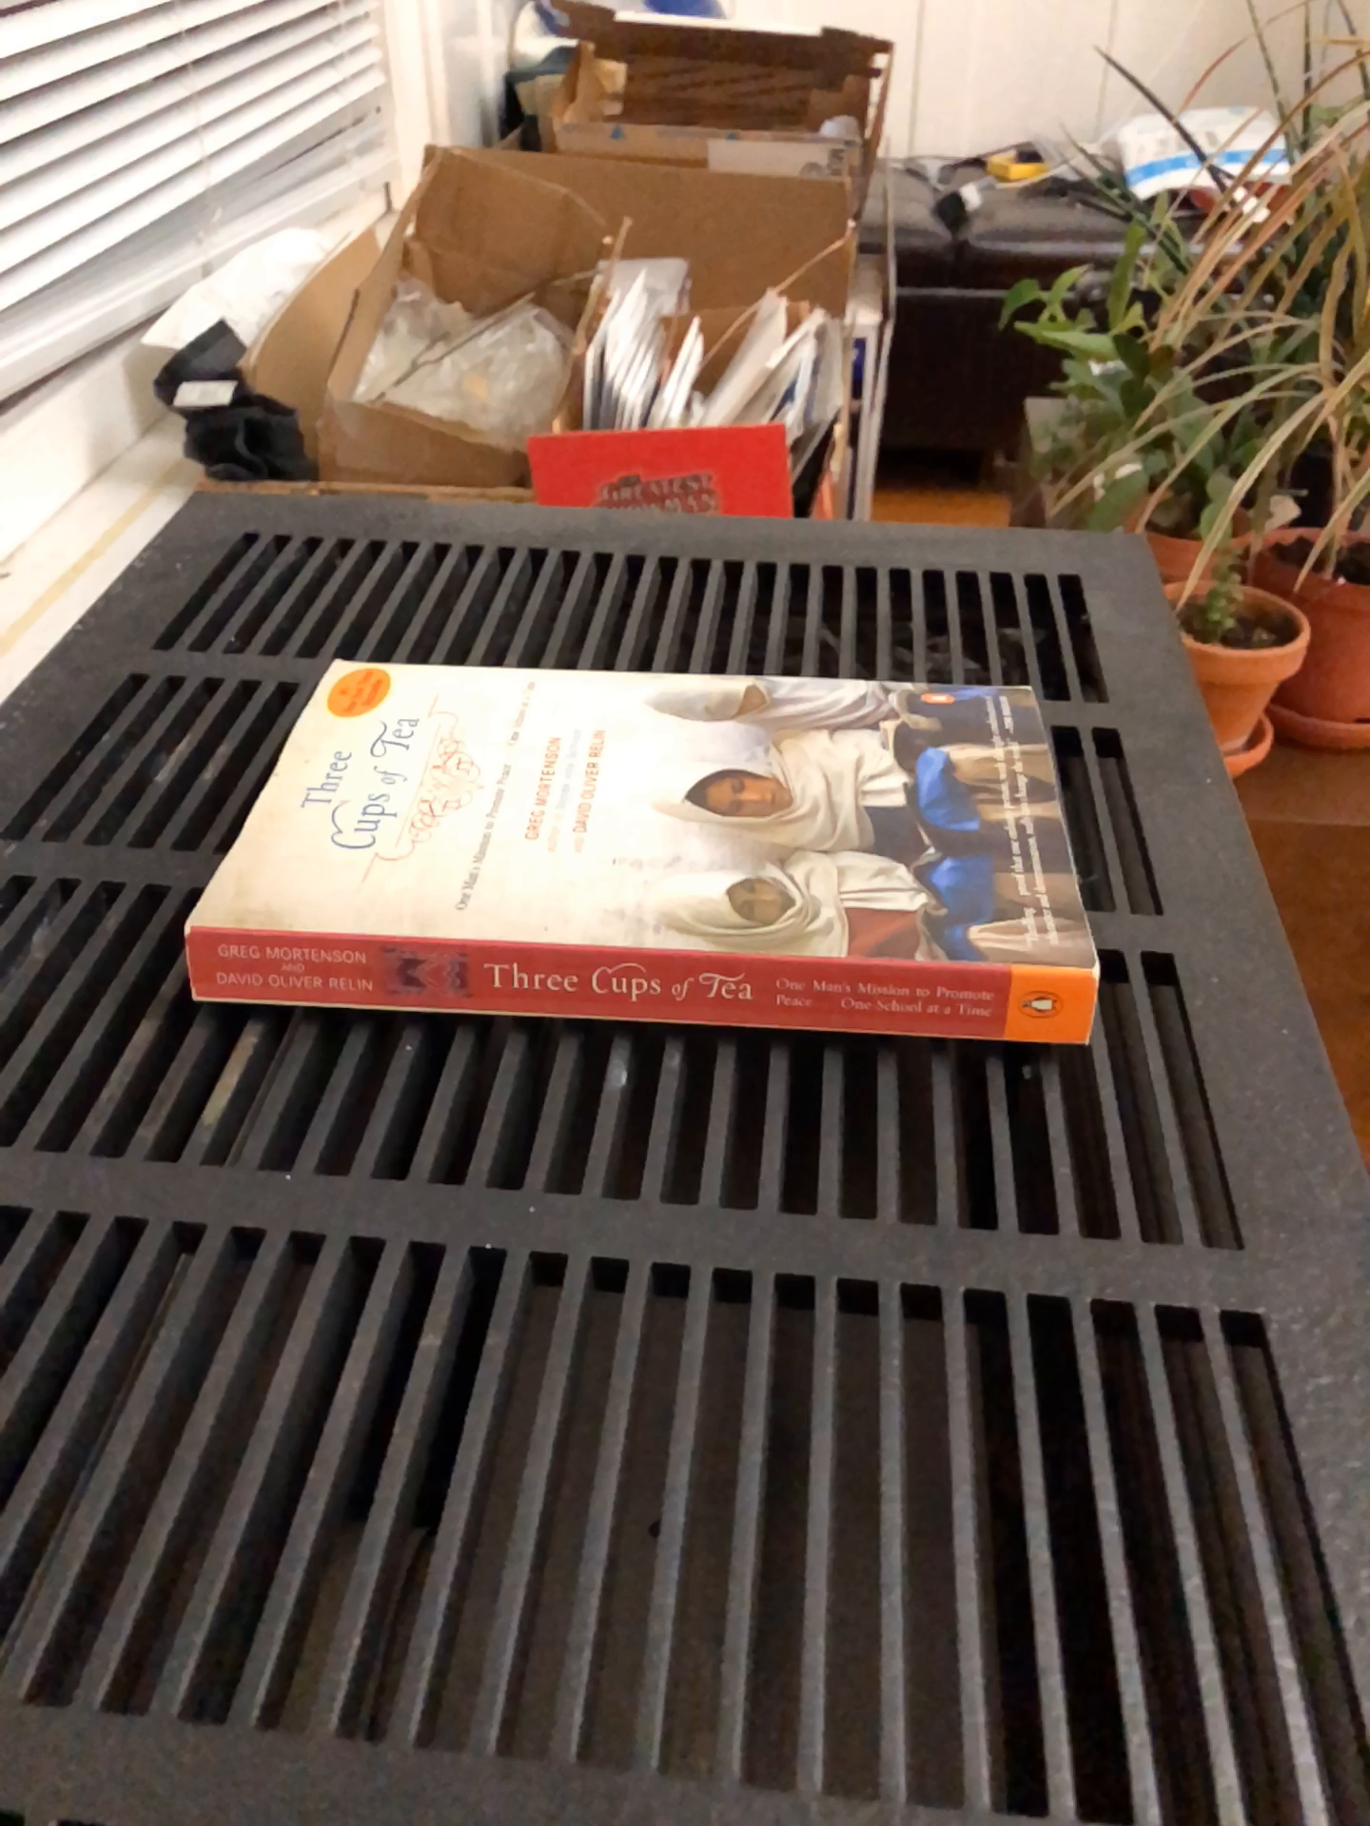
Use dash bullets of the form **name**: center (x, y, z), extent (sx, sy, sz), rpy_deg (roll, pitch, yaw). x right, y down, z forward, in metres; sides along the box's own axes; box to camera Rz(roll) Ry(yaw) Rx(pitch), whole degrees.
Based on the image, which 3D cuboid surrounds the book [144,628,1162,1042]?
- **book**: center (-0.005, -0.027, 0.392), extent (0.220, 0.030, 0.141), rpy_deg (1, 37, 2)
